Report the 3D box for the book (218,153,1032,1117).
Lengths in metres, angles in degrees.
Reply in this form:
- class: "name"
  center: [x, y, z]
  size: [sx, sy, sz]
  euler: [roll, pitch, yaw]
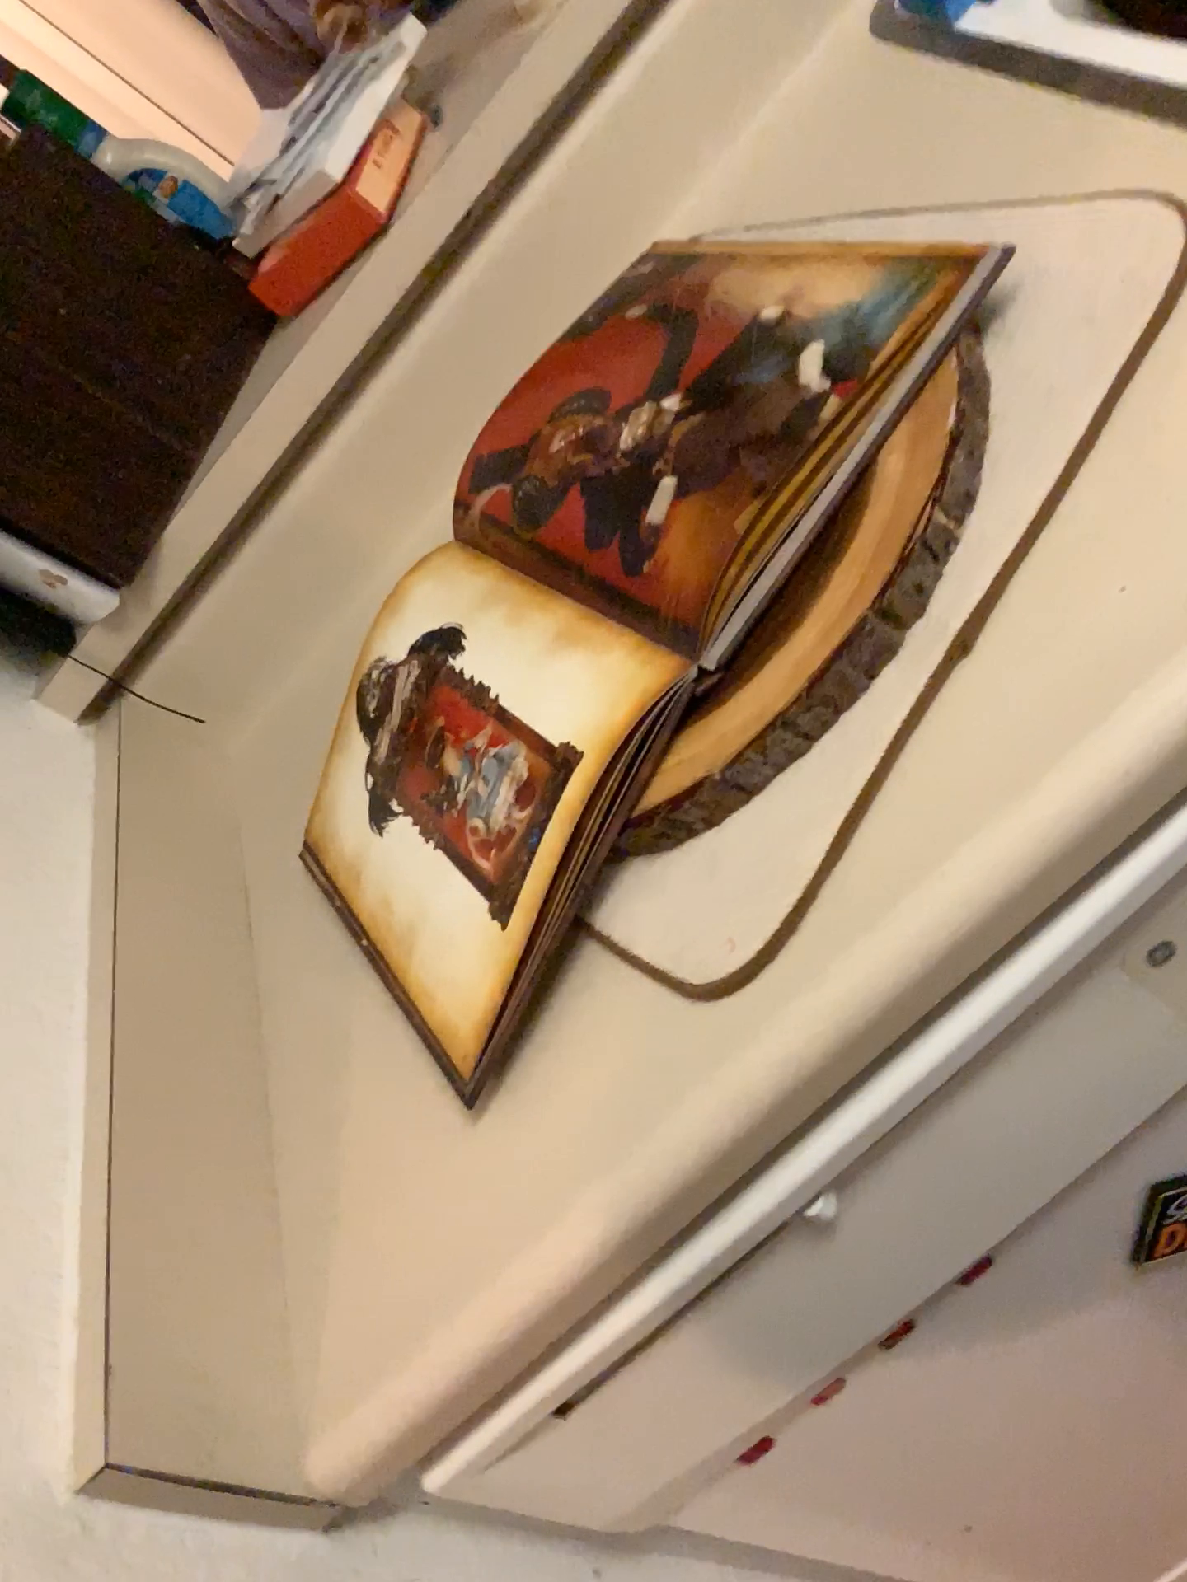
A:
- class: "book"
  center: [-0.027, -0.117, 0.712]
  size: [0.470, 0.040, 0.340]
  euler: [-58, 34, 3]
